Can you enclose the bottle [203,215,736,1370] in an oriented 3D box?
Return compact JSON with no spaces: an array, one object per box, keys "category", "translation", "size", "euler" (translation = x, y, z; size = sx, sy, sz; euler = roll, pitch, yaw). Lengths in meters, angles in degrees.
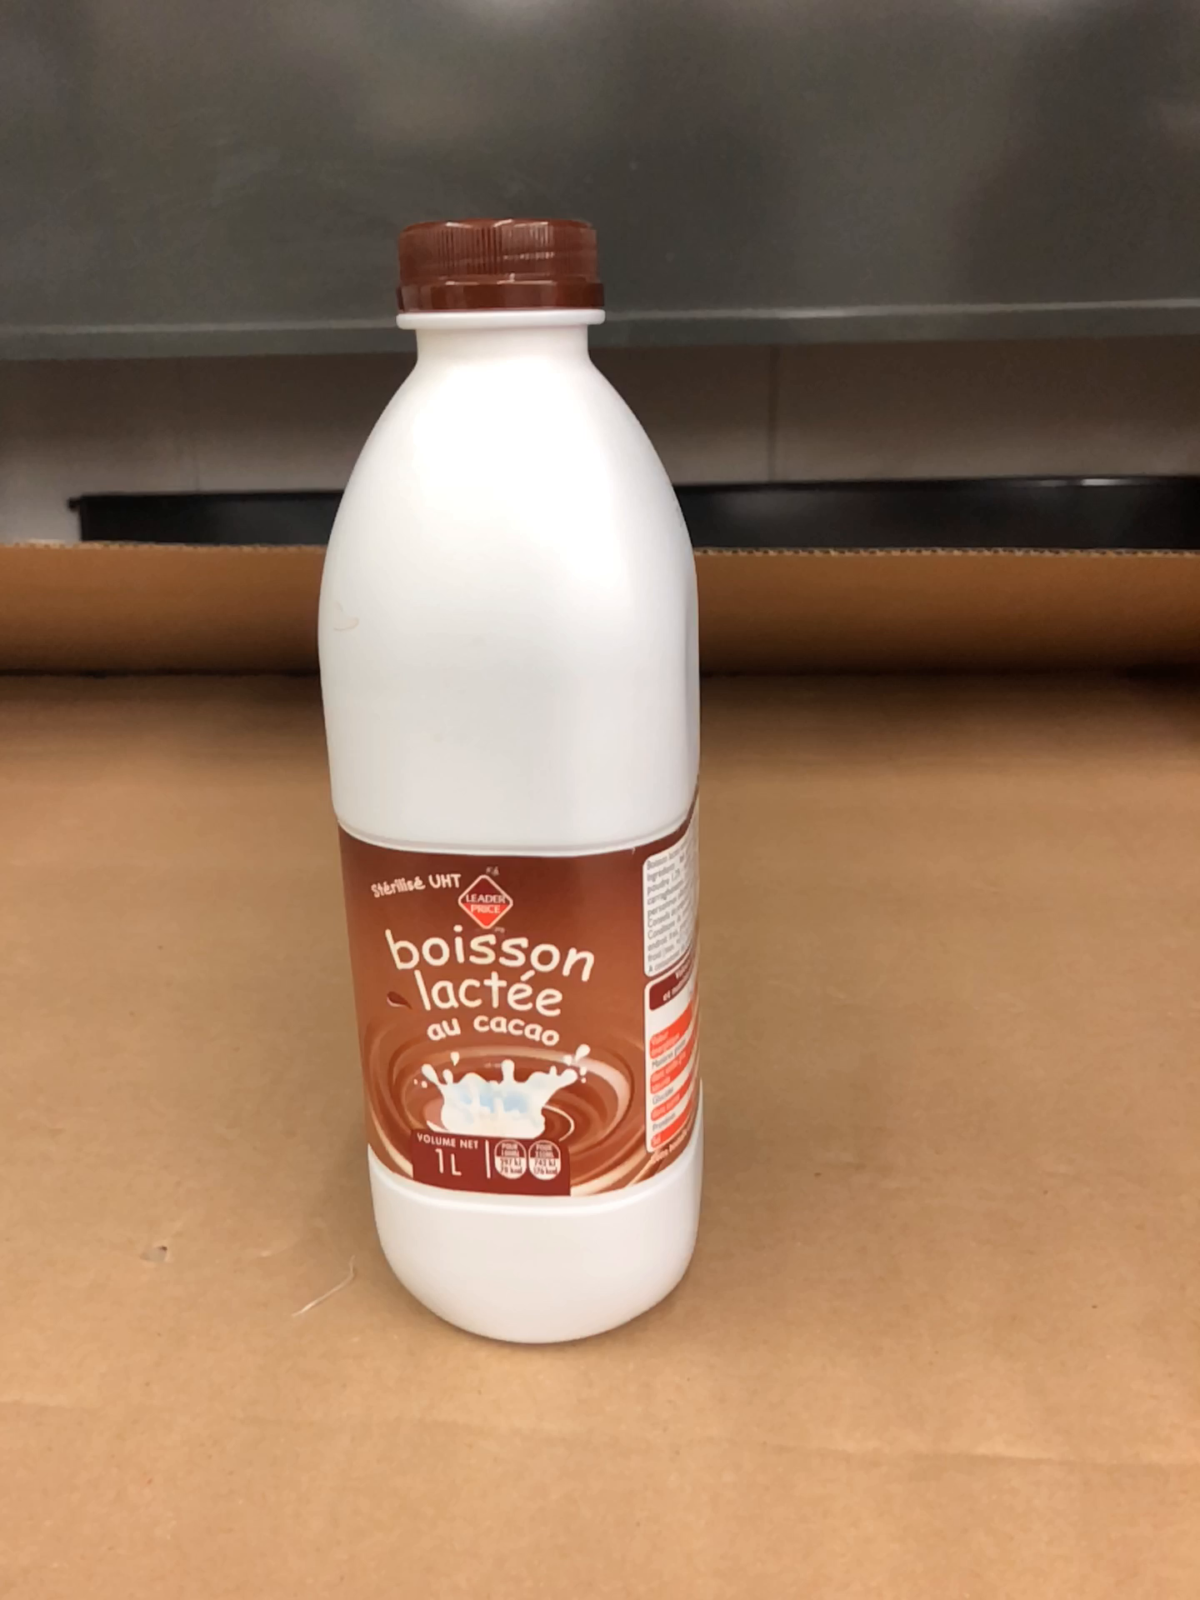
[{"category":"bottle","translation":[-0.015,0.002,0.299],"size":[0.090,0.239,0.080],"euler":[0,20,5]}]
